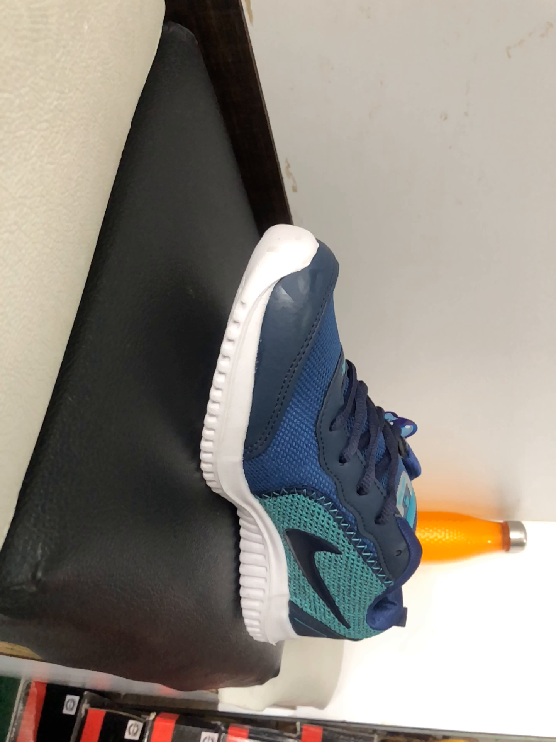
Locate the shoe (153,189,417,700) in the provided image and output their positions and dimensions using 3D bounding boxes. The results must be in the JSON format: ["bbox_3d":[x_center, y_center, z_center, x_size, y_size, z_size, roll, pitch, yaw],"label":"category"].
[{"bbox_3d":[0.026,0.048,0.355,0.130,0.100,0.260,-74,160,-56],"label":"shoe"}]
